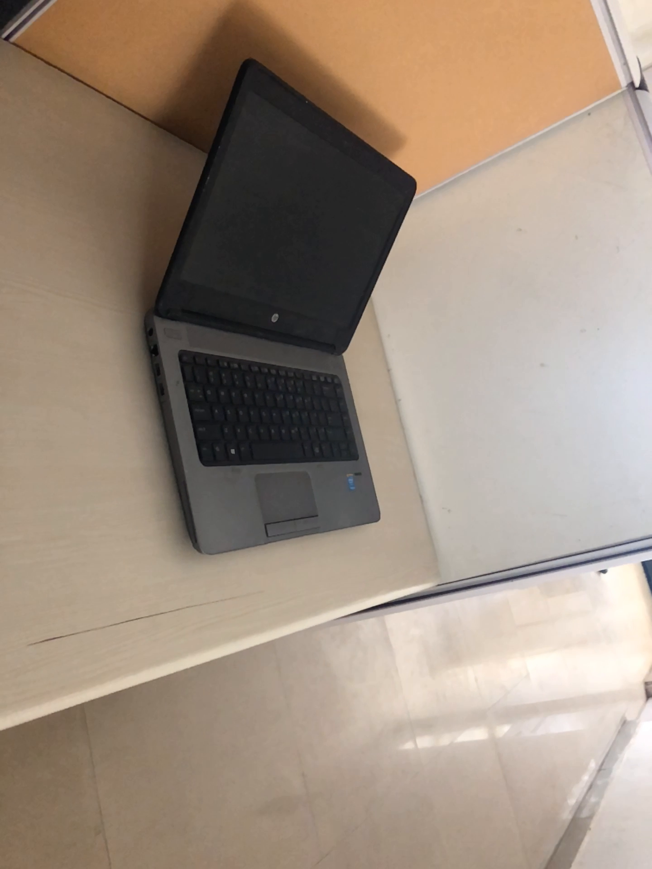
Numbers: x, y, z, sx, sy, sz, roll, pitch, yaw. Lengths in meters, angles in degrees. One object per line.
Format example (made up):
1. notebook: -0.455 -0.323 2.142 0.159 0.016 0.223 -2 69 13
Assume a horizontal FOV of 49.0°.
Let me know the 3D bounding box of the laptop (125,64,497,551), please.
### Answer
1. laptop: 0.004 -0.103 0.751 0.325 0.167 0.371 0 75 -59
